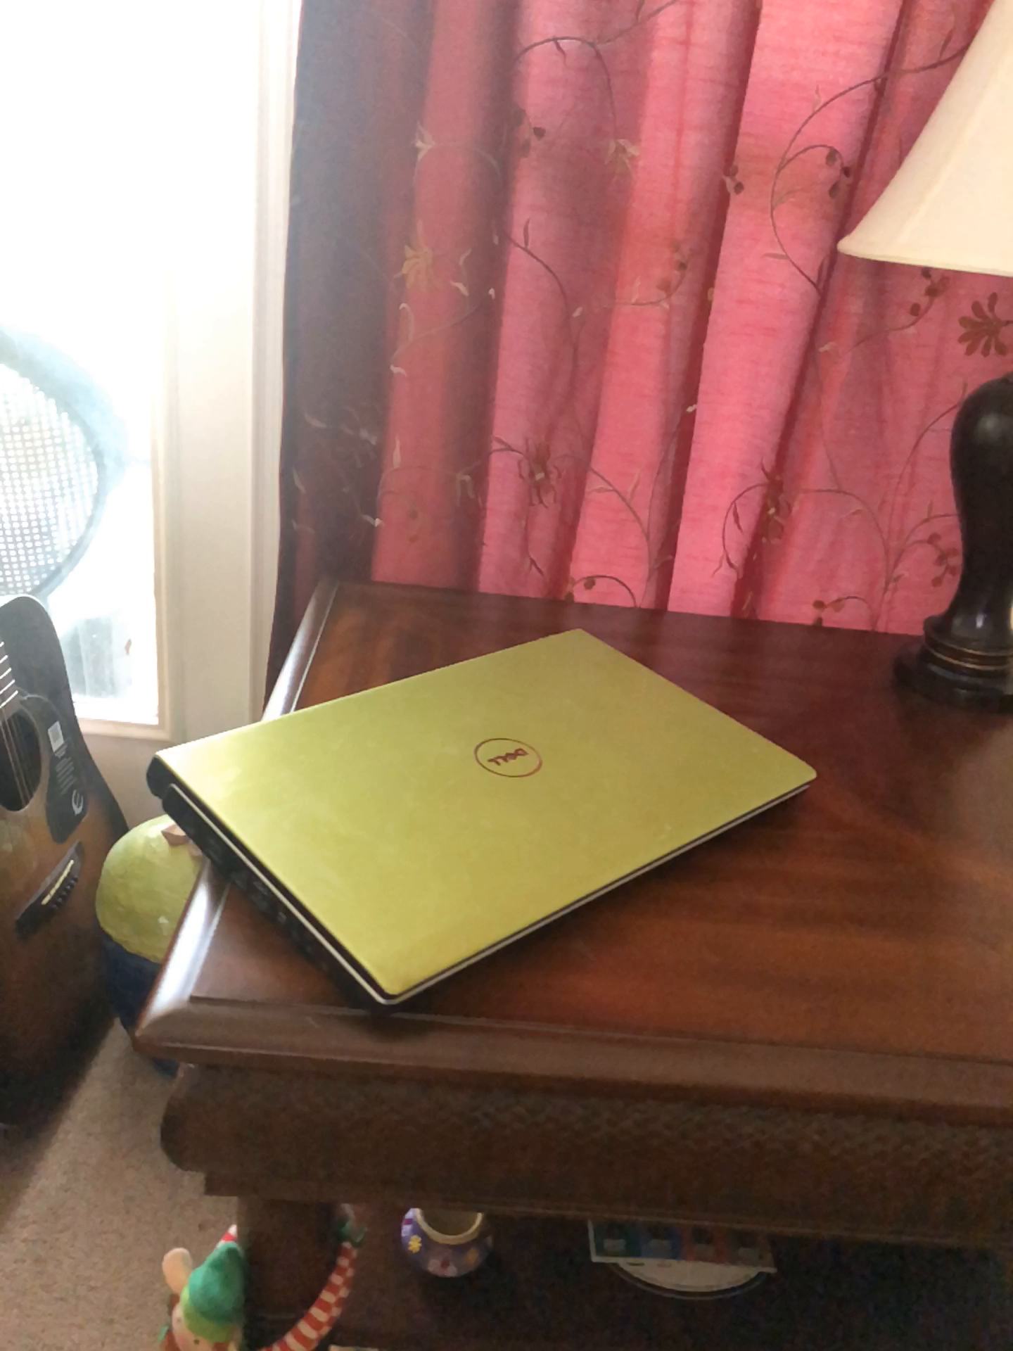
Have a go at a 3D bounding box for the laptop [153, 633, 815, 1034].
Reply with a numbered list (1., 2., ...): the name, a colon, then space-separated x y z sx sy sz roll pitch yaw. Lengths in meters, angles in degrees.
1. laptop: -0.001 0.071 0.738 0.378 0.020 0.237 -17 39 -39
